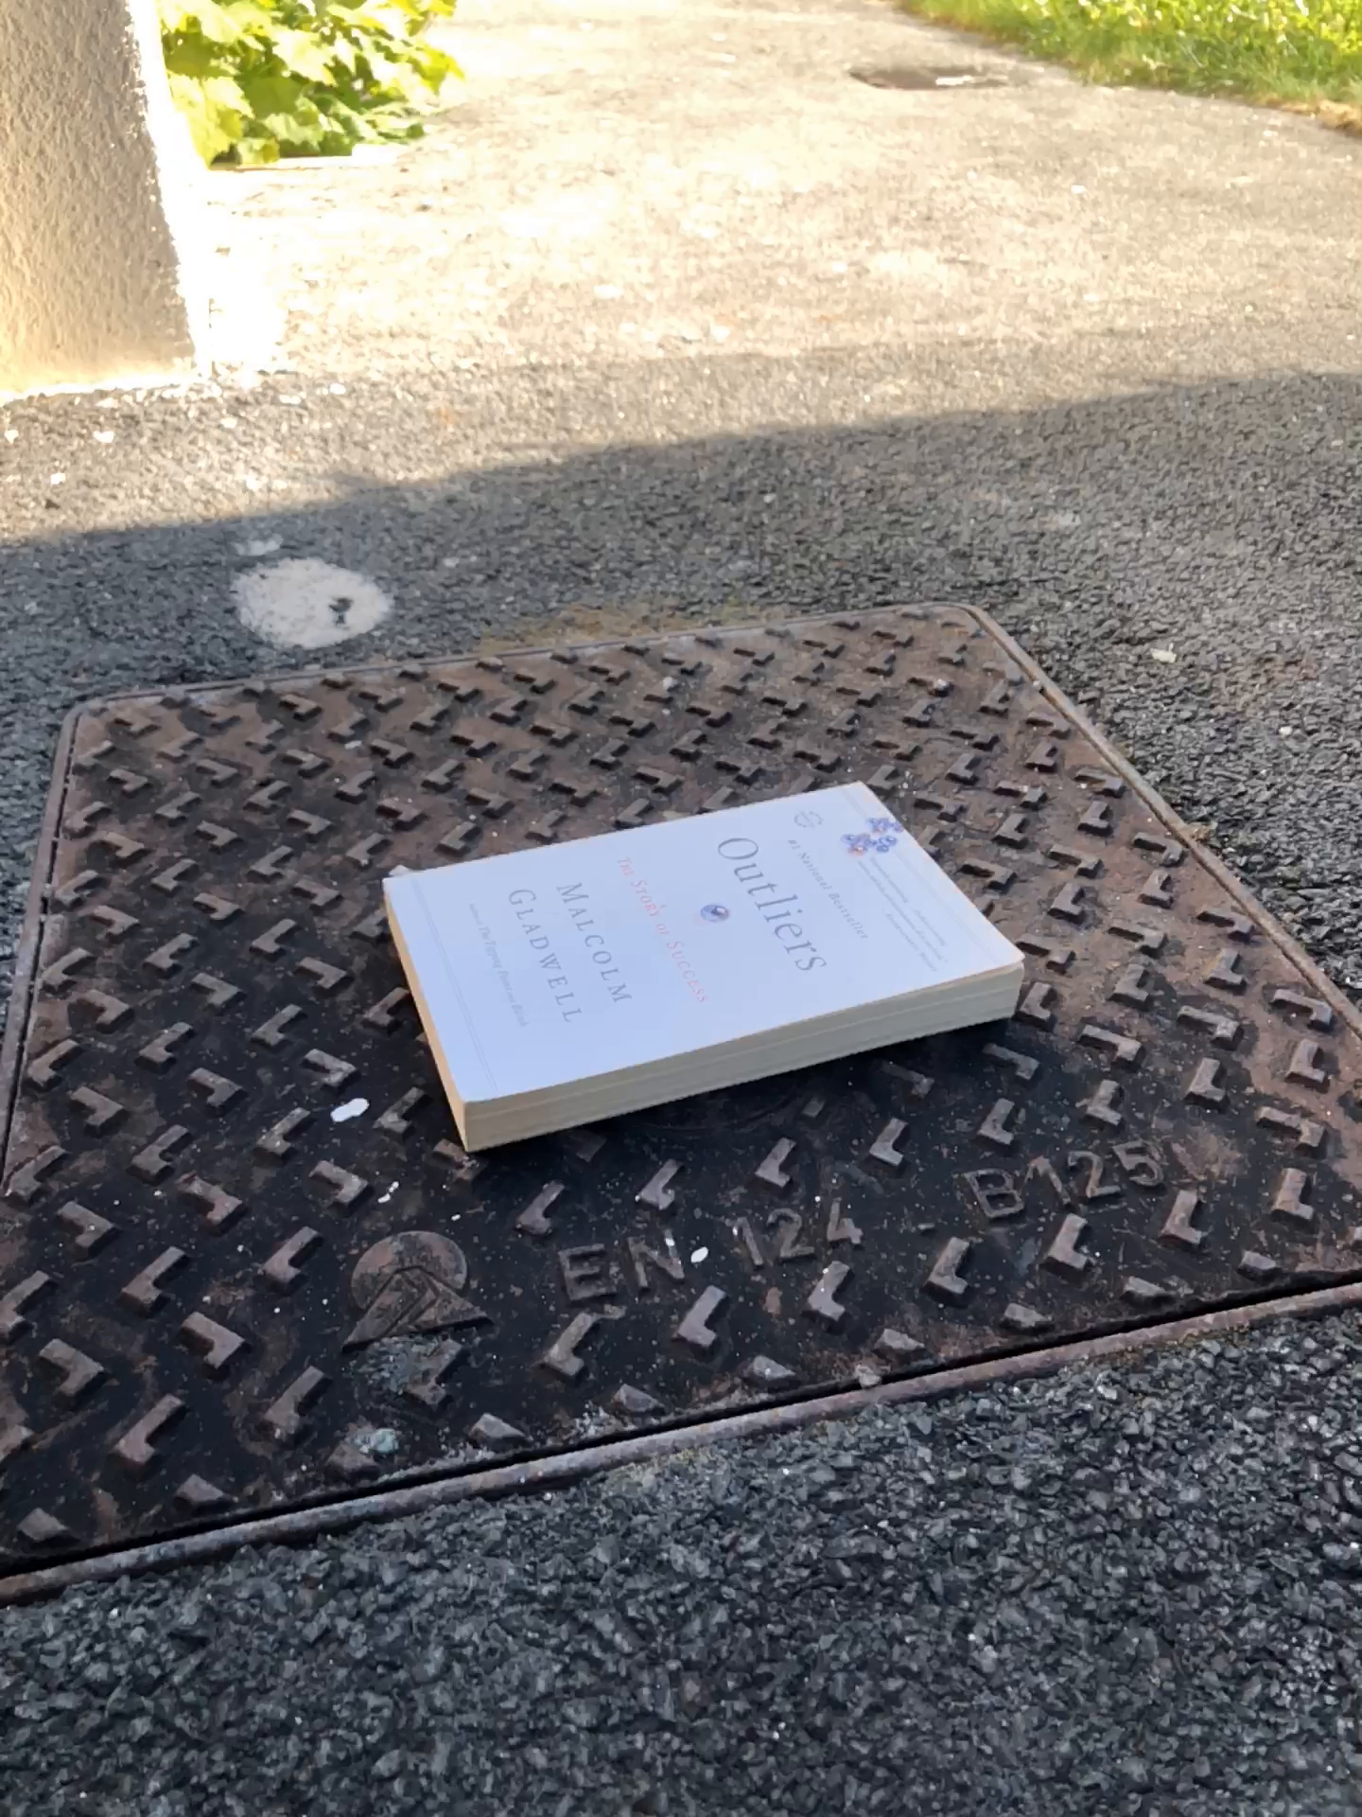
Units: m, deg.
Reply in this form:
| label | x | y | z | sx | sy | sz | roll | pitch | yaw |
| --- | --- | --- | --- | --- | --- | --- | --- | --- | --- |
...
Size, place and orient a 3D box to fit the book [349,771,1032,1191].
| label | x | y | z | sx | sy | sz | roll | pitch | yaw |
| --- | --- | --- | --- | --- | --- | --- | --- | --- | --- |
| book | -0.002 | 0.016 | 0.546 | 0.210 | 0.030 | 0.140 | -12 | 38 | -16 |
